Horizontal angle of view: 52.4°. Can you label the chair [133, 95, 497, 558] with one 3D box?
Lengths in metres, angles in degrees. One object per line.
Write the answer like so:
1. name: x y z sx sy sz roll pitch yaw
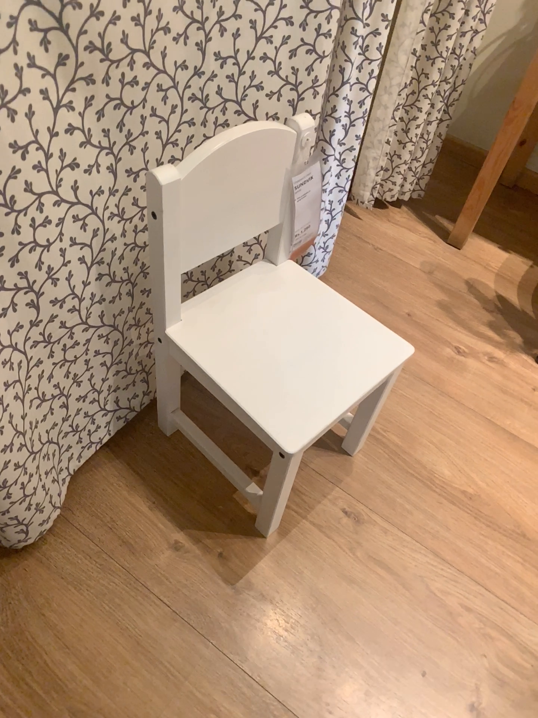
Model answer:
1. chair: 0.019 -0.010 0.802 0.290 0.568 0.271 39 55 22
